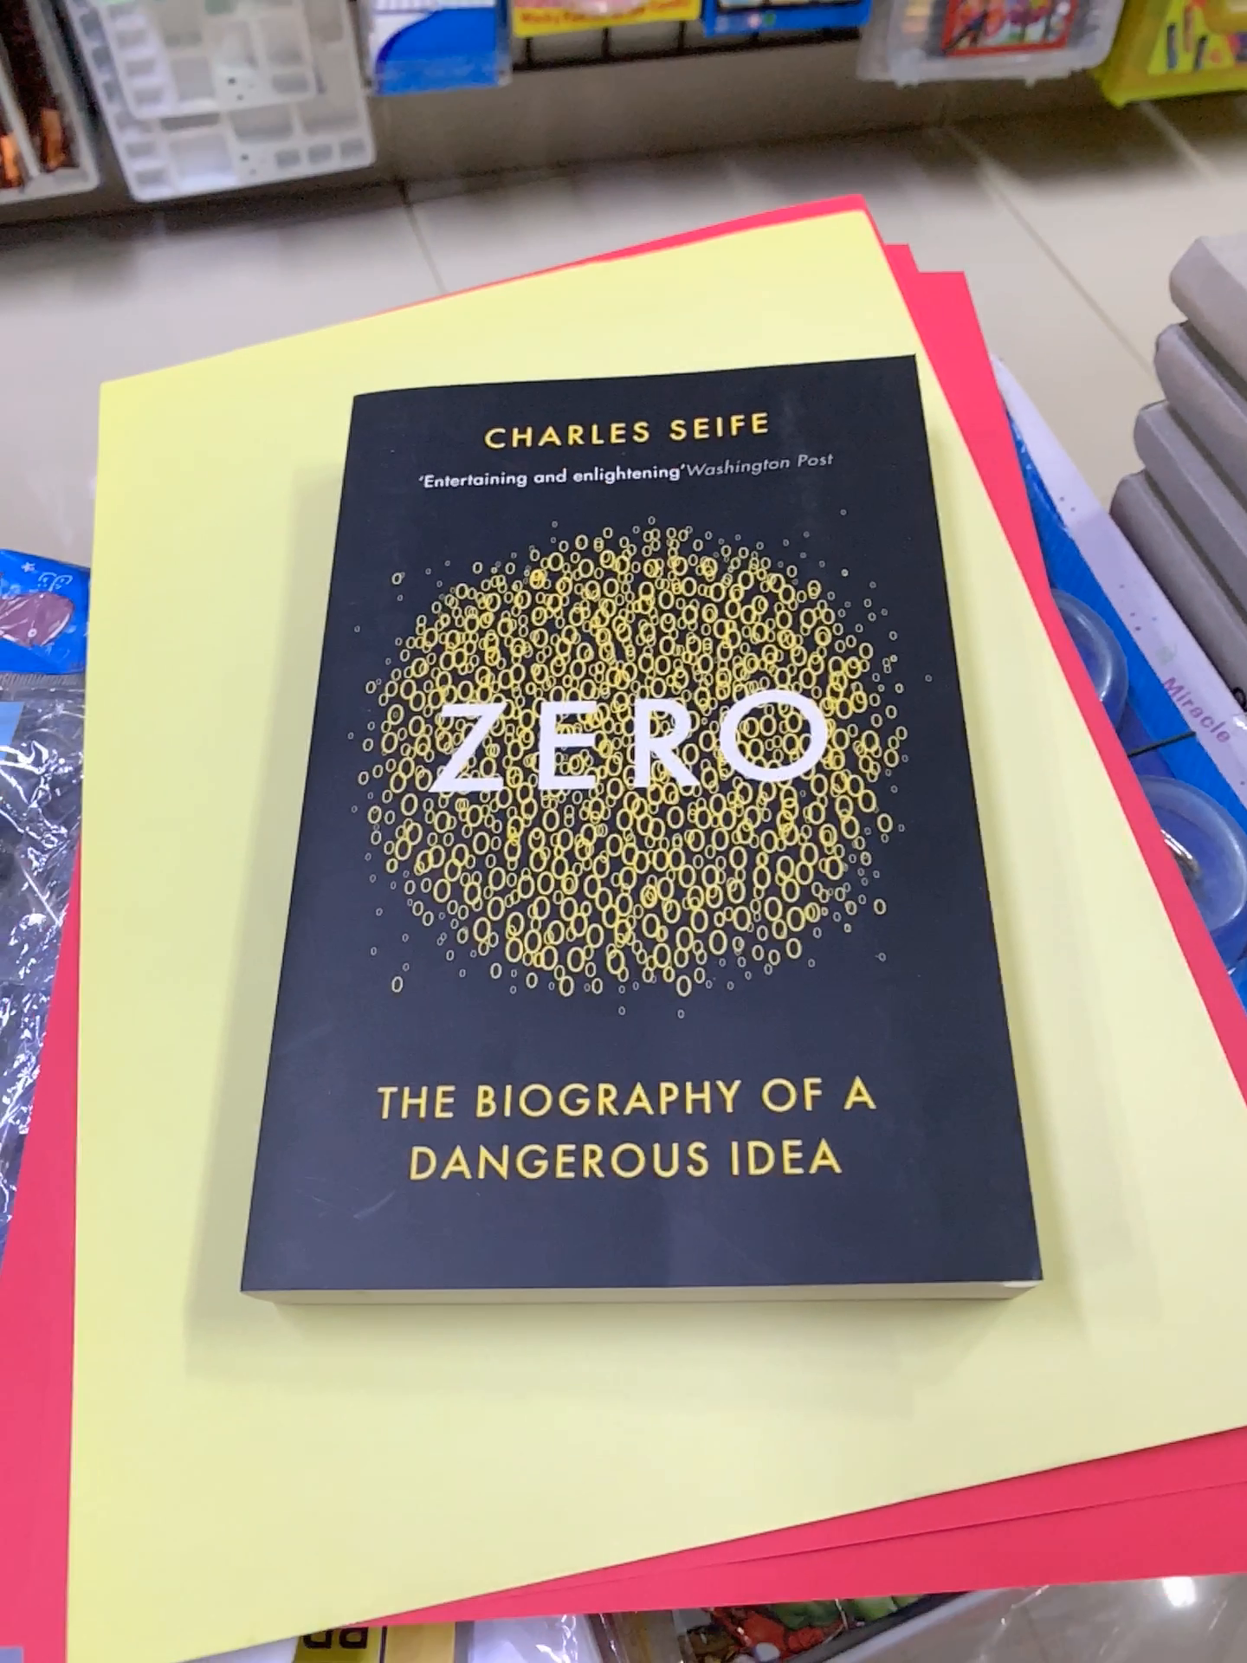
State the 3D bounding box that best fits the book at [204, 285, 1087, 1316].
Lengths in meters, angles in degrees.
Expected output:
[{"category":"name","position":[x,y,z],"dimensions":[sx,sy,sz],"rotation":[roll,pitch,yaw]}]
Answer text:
[{"category":"book","position":[0.003,-0.015,0.252],"dimensions":[0.130,0.040,0.201],"rotation":[-2,64,4]}]
